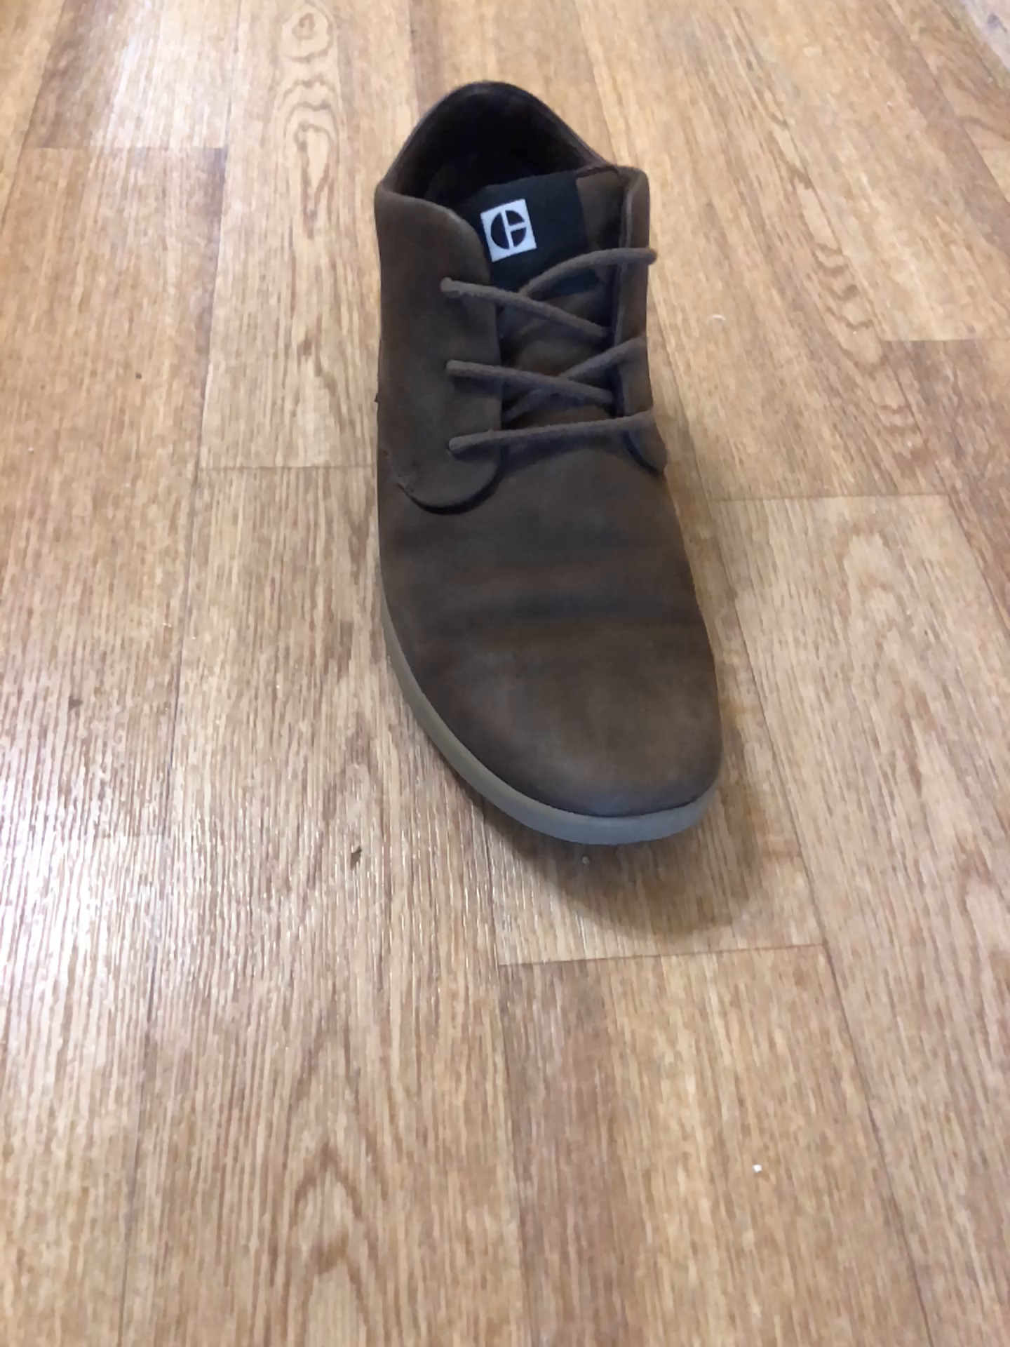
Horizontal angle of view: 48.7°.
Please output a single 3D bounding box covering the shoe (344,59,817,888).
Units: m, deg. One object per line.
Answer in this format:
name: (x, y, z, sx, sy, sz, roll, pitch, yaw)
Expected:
shoe: (0.004, -0.080, 0.360, 0.100, 0.100, 0.271, -3, 55, -5)
